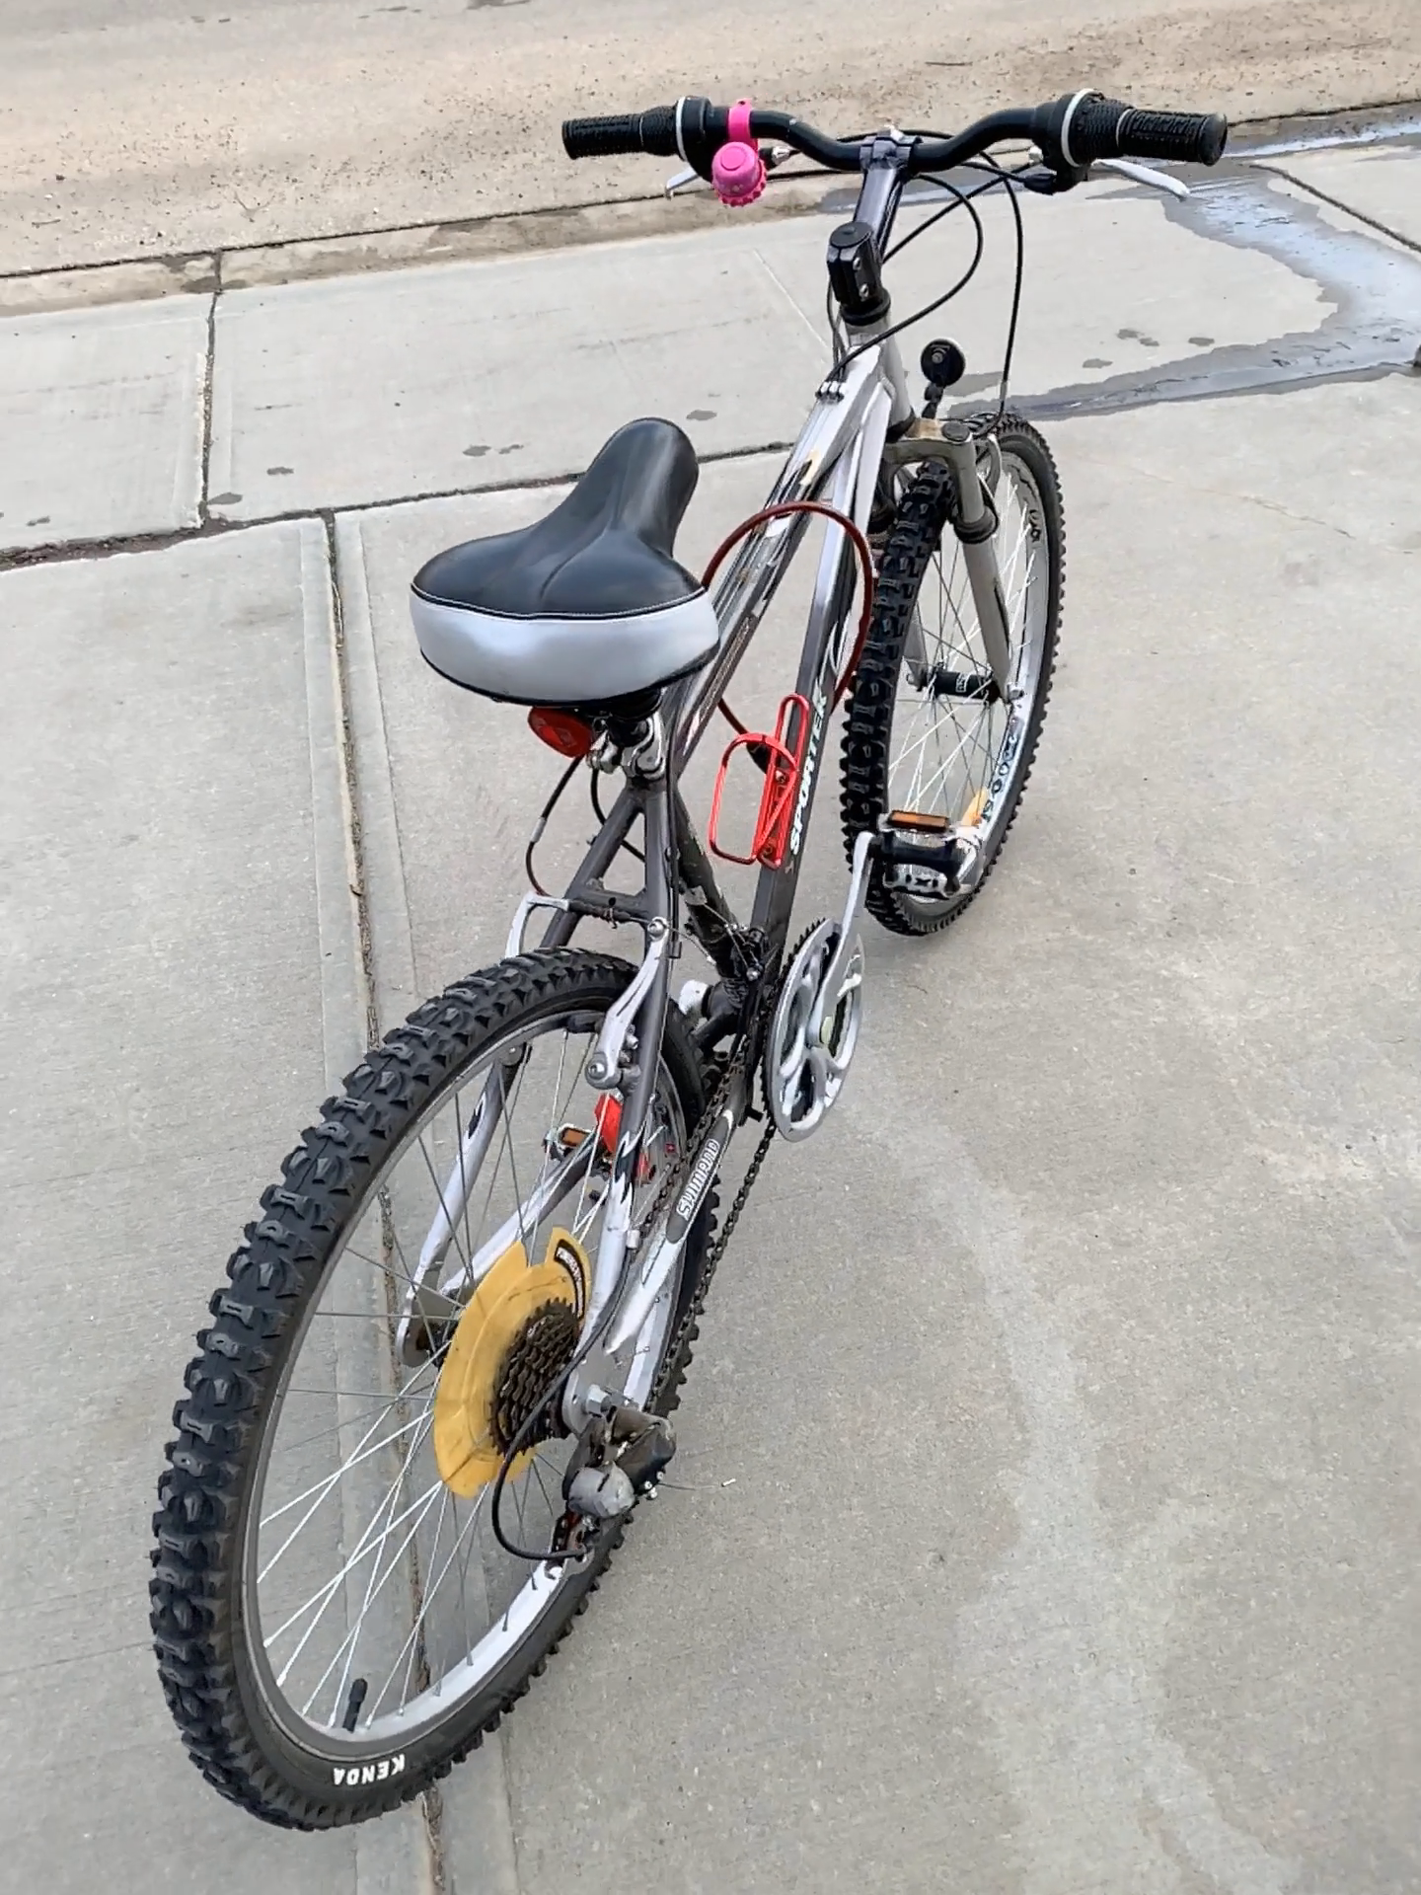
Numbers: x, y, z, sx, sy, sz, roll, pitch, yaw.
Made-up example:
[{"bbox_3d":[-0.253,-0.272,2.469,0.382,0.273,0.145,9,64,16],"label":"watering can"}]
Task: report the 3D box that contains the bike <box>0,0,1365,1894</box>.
[{"bbox_3d":[0.022,-0.160,1.186,0.539,0.825,1.505,17,50,20],"label":"bike"}]
